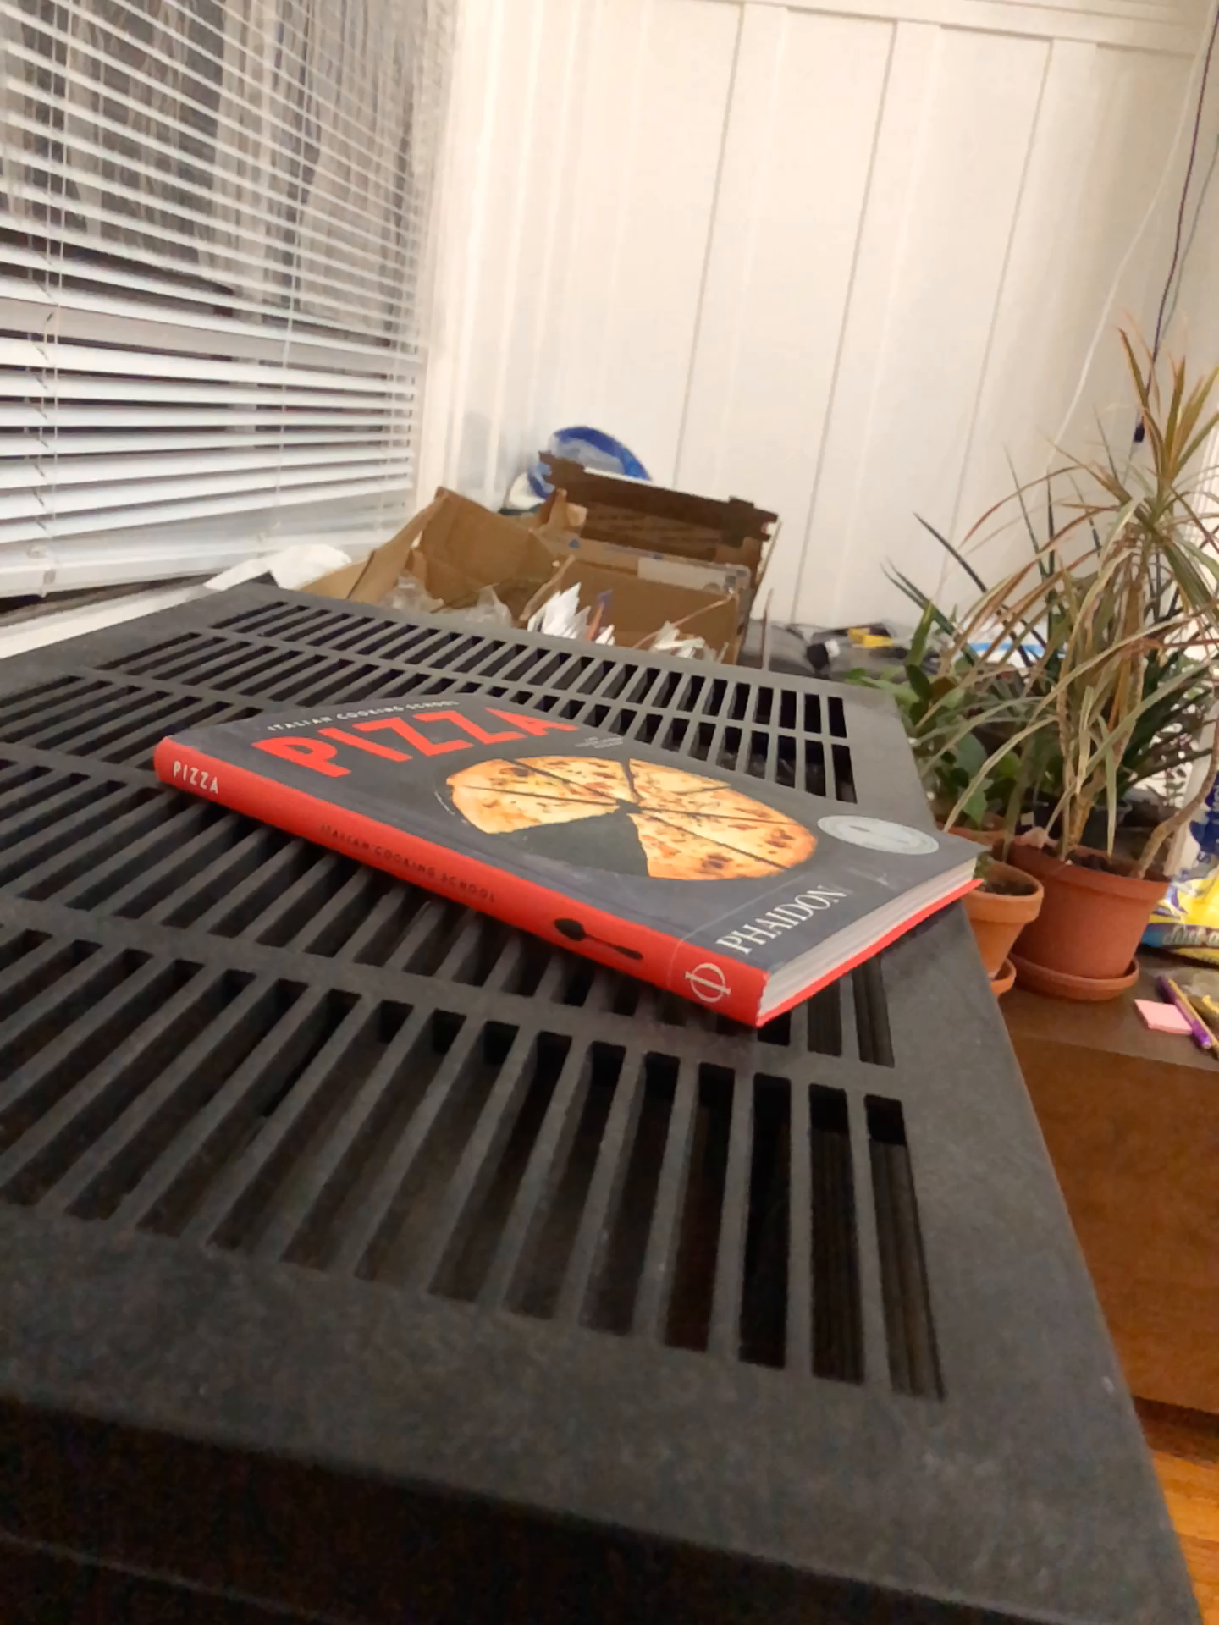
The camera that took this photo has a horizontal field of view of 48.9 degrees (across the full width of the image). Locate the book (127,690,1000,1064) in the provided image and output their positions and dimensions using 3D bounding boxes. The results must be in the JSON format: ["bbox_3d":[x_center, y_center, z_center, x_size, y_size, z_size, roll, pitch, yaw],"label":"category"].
[{"bbox_3d":[-0.011,0.004,0.449,0.230,0.020,0.181,18,20,30],"label":"book"}]
